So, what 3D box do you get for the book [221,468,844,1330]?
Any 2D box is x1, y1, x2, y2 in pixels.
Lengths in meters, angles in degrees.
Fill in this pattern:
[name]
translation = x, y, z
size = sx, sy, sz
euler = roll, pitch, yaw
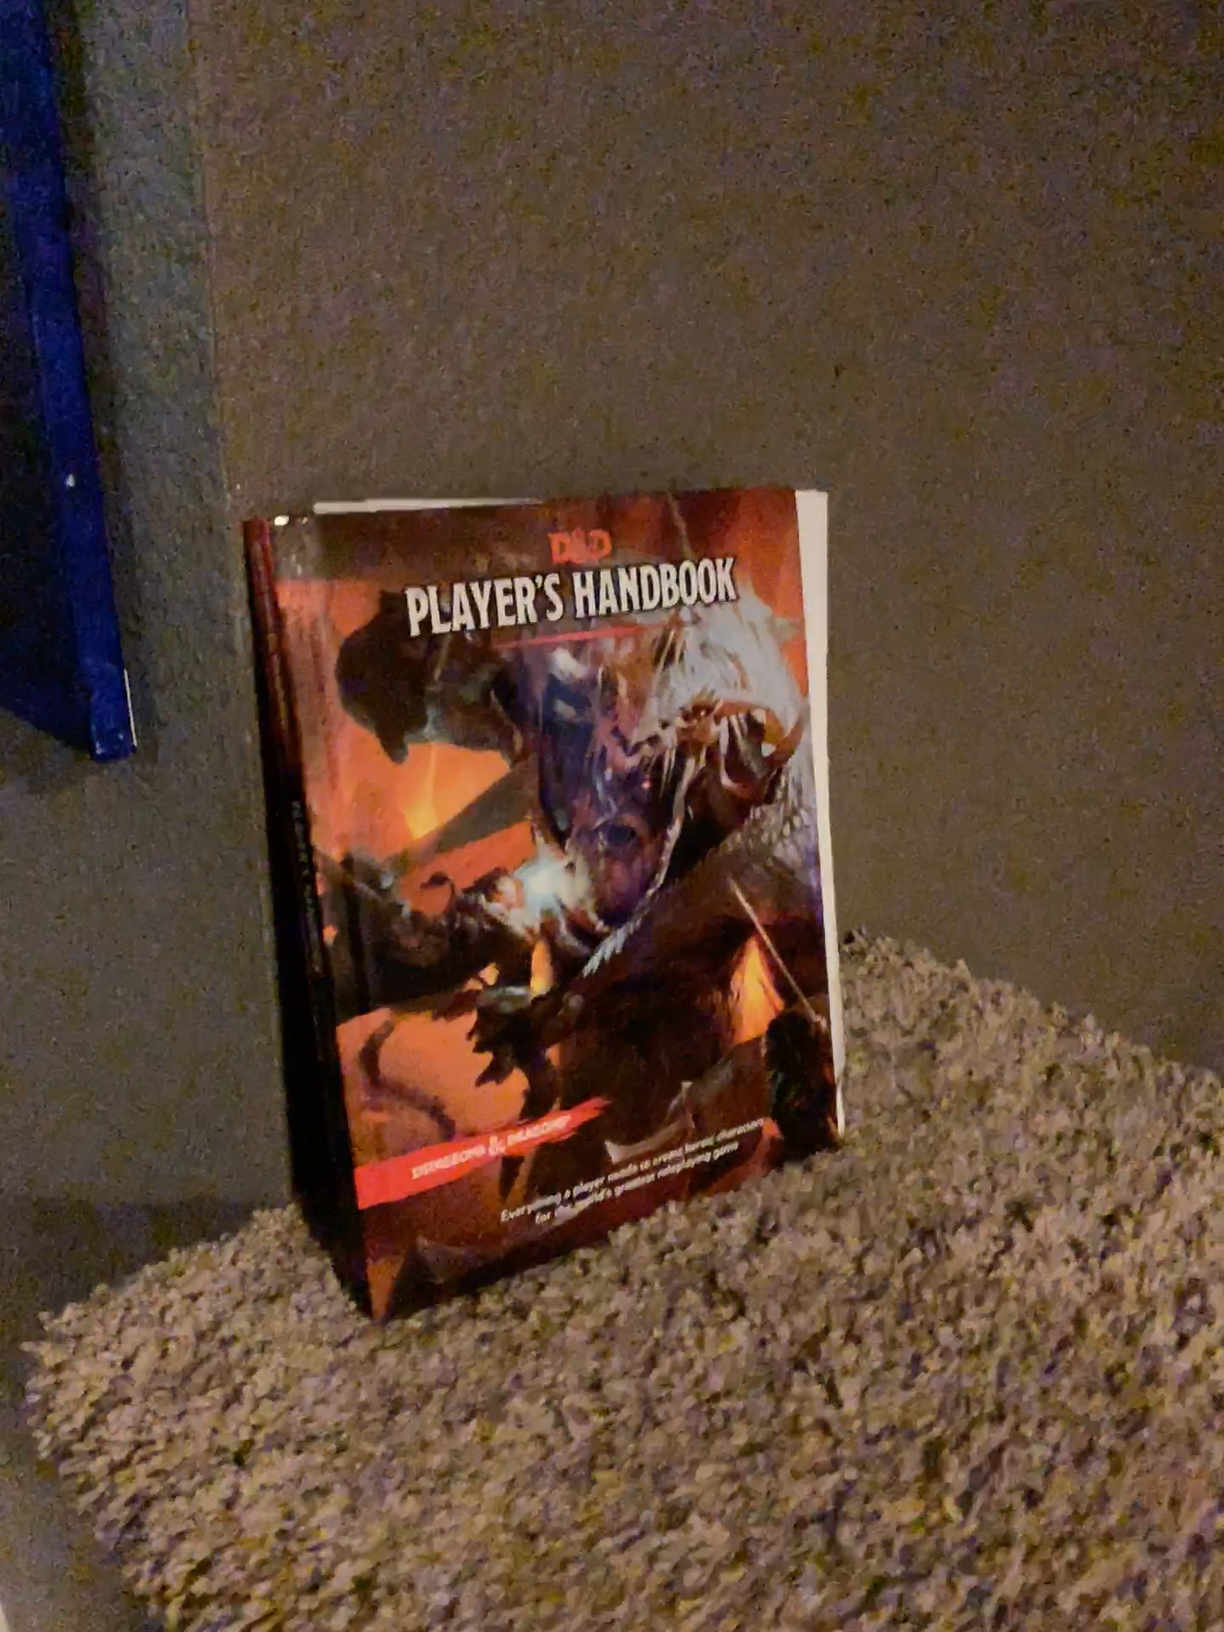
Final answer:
[book]
translation = -0.014, 0.020, 0.532
size = 0.230, 0.290, 0.040
euler = -12, 15, -31
